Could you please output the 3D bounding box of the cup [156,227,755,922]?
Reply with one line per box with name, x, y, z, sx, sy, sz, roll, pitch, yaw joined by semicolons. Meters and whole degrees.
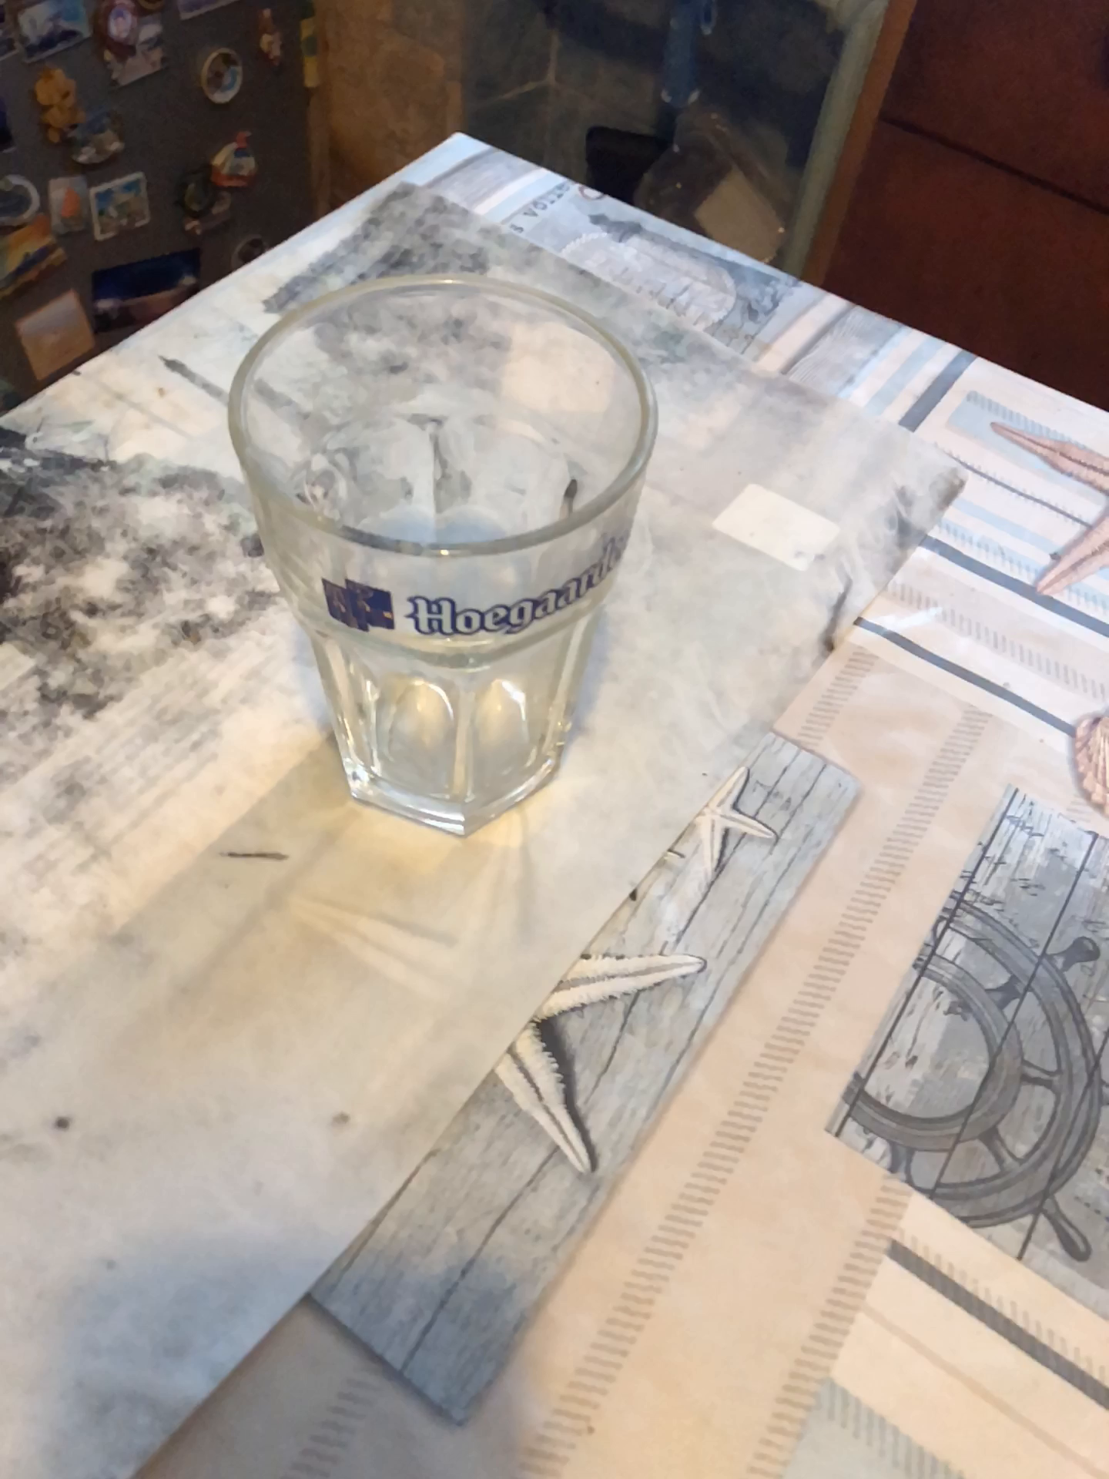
cup;-0.026;-0.040;0.322;0.099;0.123;0.099;1;55;-1
